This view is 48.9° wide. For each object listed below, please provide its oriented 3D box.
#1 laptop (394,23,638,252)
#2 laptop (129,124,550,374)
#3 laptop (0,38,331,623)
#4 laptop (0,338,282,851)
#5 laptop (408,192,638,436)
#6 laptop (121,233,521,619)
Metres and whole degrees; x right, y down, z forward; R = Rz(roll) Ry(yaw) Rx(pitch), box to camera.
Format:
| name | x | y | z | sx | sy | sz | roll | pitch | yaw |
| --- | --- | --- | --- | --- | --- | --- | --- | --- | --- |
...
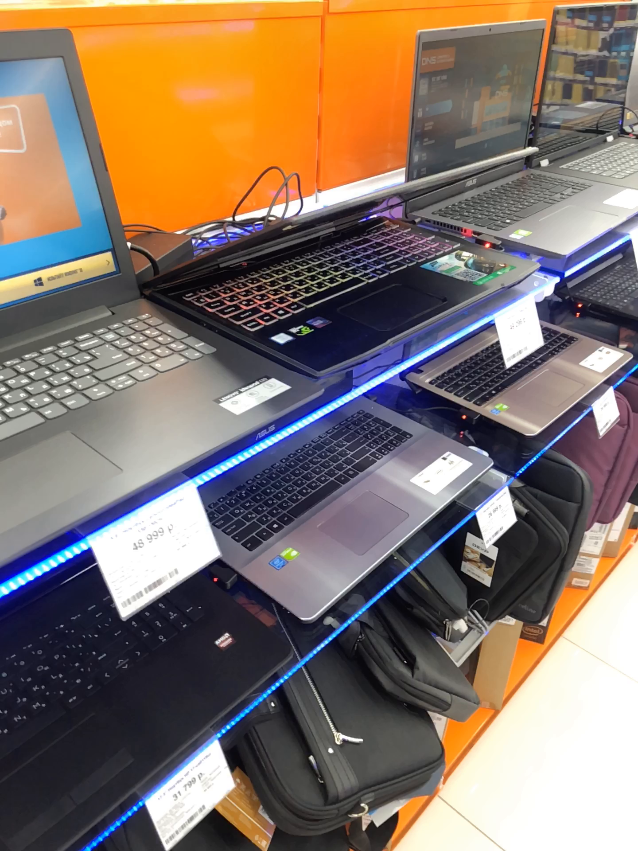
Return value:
| name | x | y | z | sx | sy | sz | roll | pitch | yaw |
| --- | --- | --- | --- | --- | --- | --- | --- | --- | --- |
| laptop | 0.319 | -0.415 | 0.969 | 0.231 | 0.216 | 0.353 | 25 | 40 | 30 |
| laptop | 0.034 | -0.211 | 0.730 | 0.244 | 0.121 | 0.365 | 28 | 40 | 33 |
| laptop | -0.241 | -0.121 | 0.479 | 0.318 | 0.228 | 0.360 | 27 | 39 | 33 |
| laptop | -0.270 | 0.151 | 0.594 | 0.273 | 0.270 | 0.407 | 27 | 40 | 35 |
| laptop | 0.362 | -0.204 | 1.163 | 0.230 | 0.240 | 0.360 | 29 | 43 | 34 |
| laptop | 0.013 | -0.036 | 0.895 | 0.287 | 0.256 | 0.395 | 29 | 42 | 33 |
